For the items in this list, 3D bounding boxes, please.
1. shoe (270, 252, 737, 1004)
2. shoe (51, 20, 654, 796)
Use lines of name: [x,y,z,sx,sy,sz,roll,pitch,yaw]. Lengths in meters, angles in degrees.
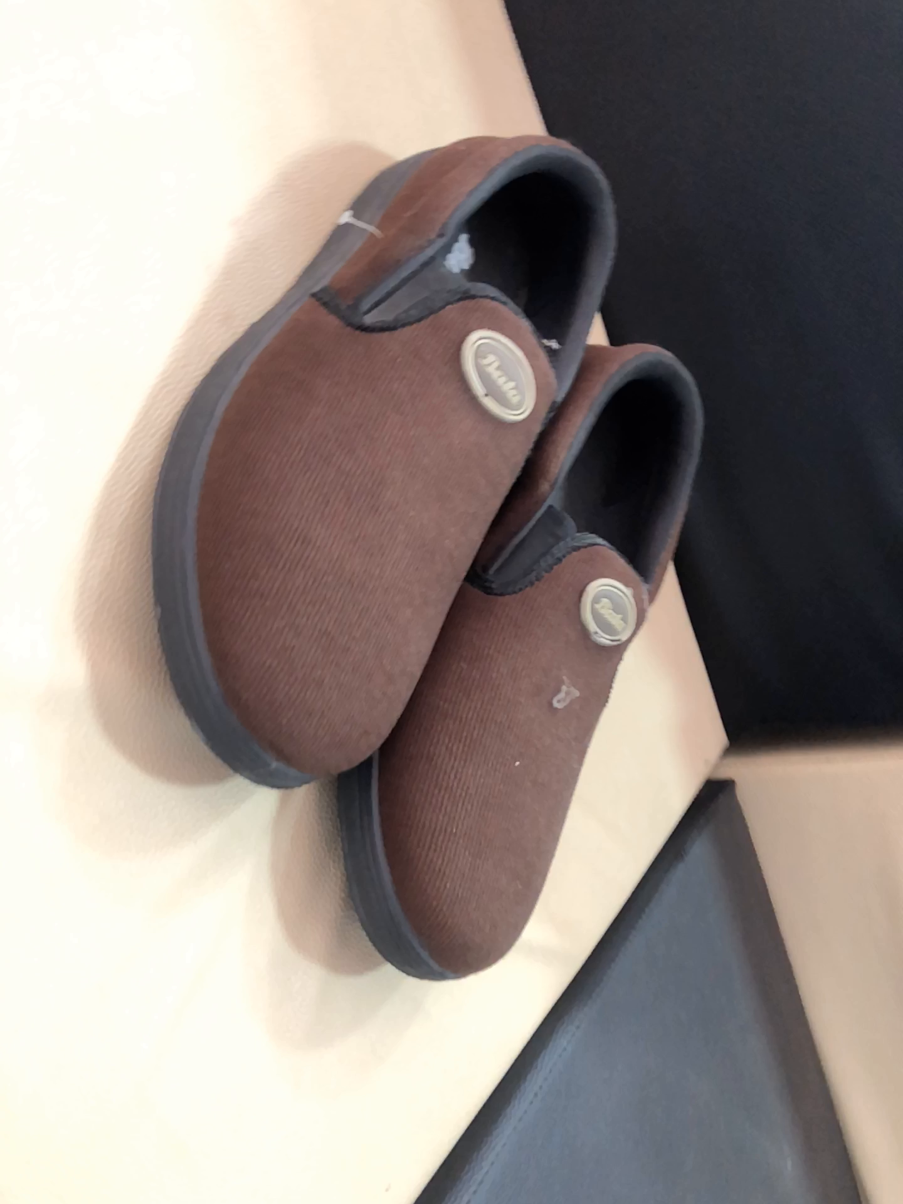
shoe: [0.037,-0.002,0.385,0.090,0.079,0.271,46,49,-36]
shoe: [-0.013,-0.070,0.336,0.090,0.089,0.251,46,49,-36]
